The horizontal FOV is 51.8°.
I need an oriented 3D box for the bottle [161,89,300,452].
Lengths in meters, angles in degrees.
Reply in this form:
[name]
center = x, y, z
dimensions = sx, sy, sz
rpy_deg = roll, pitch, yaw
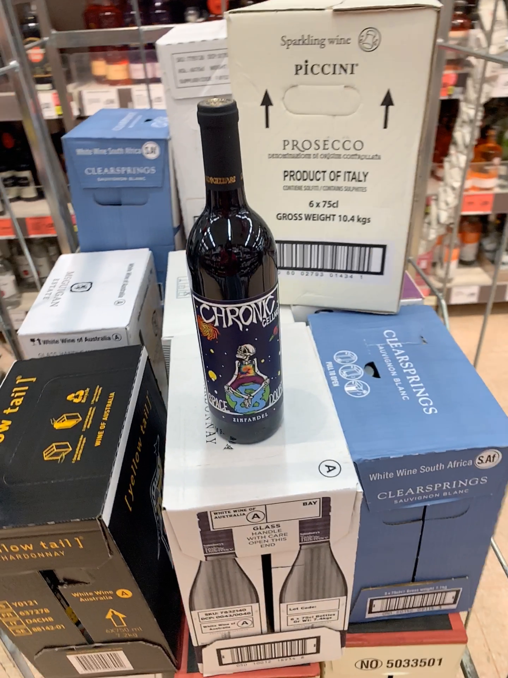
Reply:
[bottle]
center = -0.014, -0.044, 0.439
dimensions = 0.085, 0.284, 0.085
rpy_deg = -2, 34, 1
